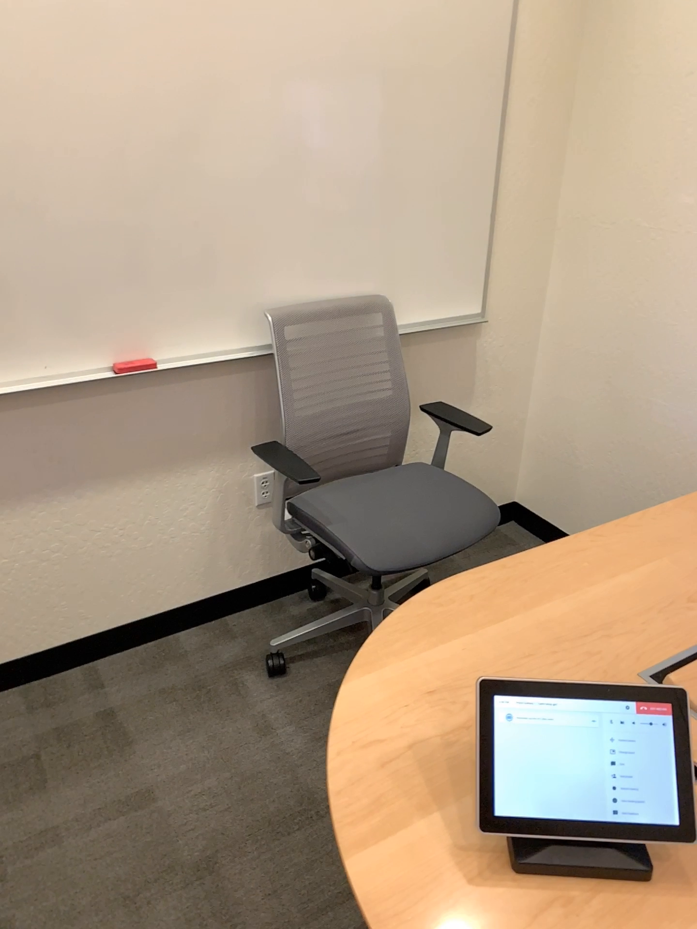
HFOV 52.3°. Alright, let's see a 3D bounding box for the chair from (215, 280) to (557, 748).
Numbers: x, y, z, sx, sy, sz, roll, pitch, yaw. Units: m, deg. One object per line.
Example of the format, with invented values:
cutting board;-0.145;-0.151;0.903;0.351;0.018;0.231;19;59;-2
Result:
chair;0.077;0.095;2.446;0.760;1.263;0.754;-14;28;-32
